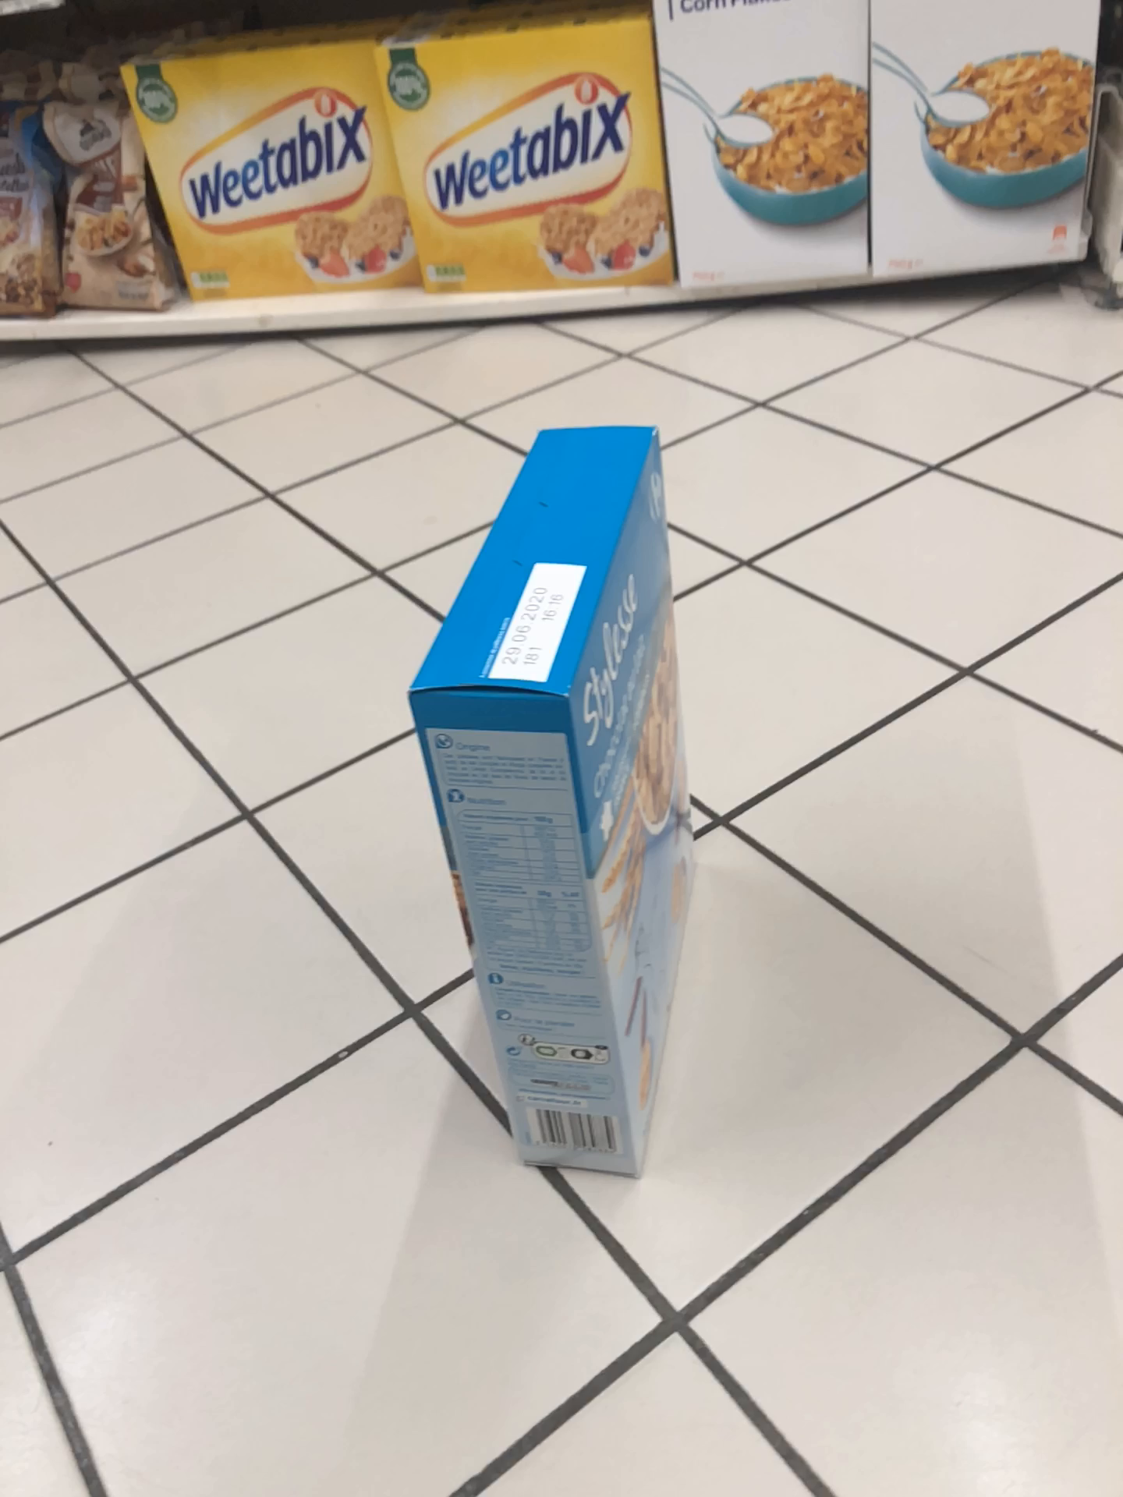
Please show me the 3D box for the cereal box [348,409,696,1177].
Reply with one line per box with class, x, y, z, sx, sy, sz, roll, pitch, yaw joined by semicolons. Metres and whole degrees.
cereal box;0.003;0.017;0.523;0.070;0.248;0.201;1;38;13
